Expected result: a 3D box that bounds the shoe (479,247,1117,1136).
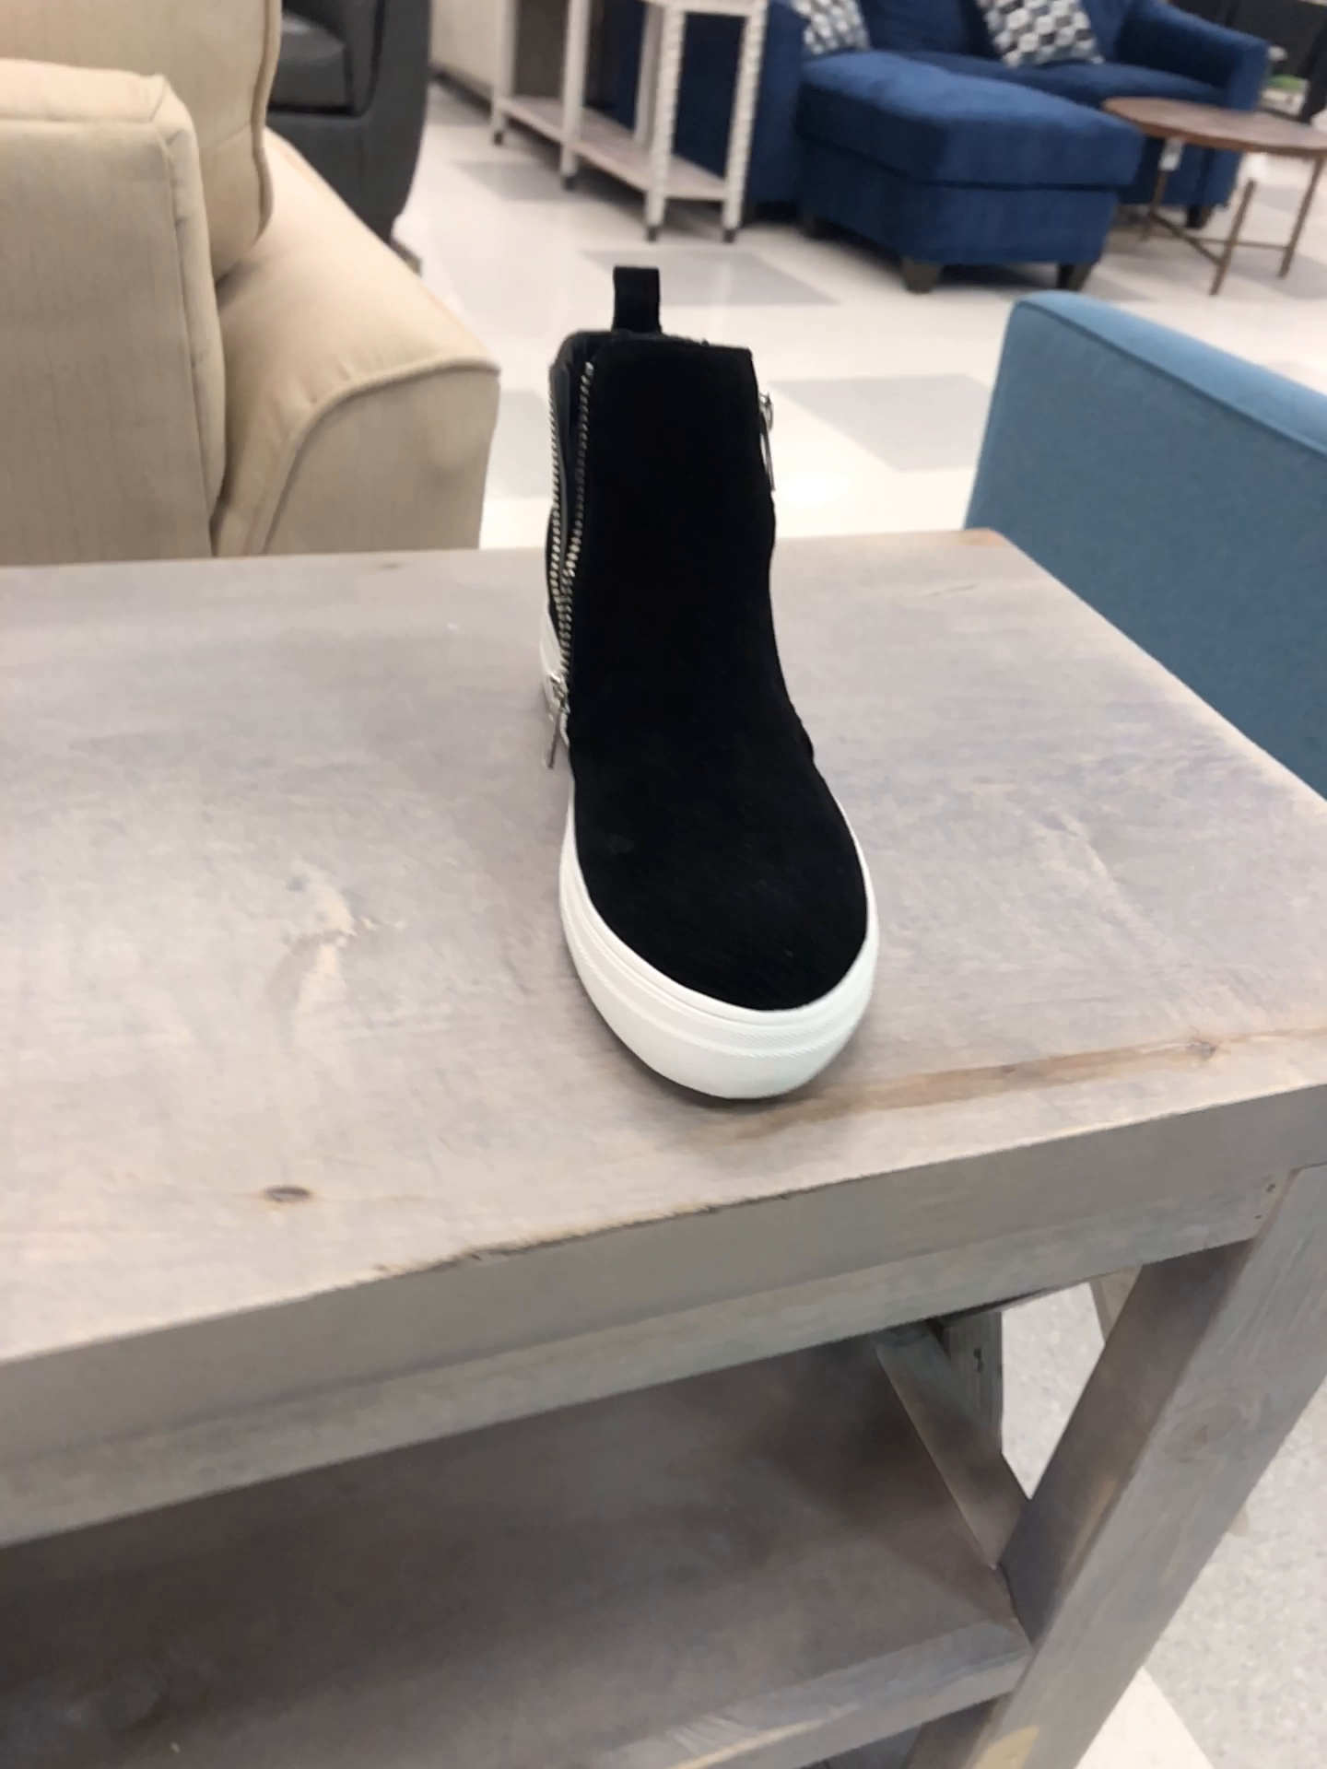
[{"bbox_3d":[0.010,-0.082,0.458,0.106,0.146,0.292,-1,36,-12],"label":"shoe"}]
